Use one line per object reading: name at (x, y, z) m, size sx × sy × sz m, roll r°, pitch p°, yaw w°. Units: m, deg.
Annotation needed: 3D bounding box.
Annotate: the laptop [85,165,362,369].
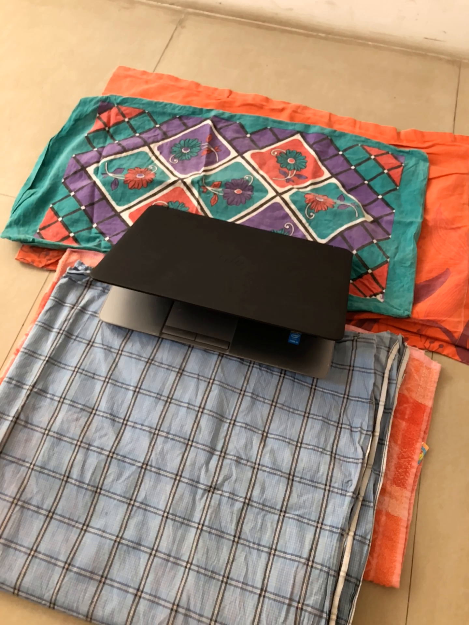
laptop at (-0.002, -0.069, 0.728) m, size 0.321 × 0.099 × 0.213 m, roll 14°, pitch 57°, yaw 3°
